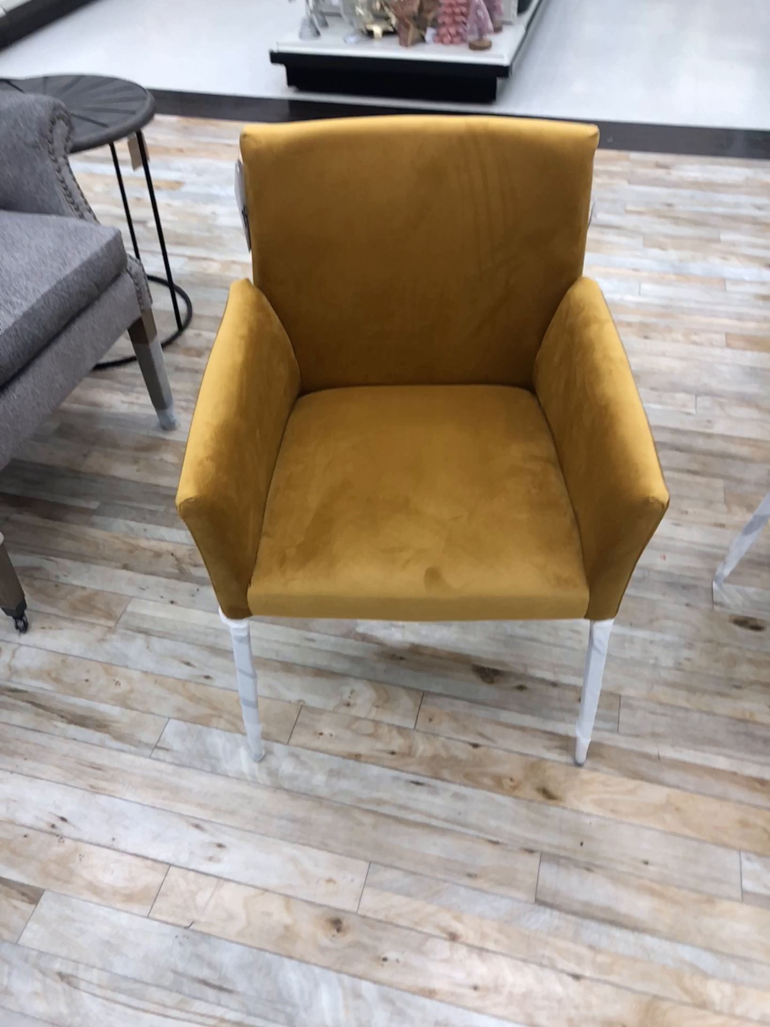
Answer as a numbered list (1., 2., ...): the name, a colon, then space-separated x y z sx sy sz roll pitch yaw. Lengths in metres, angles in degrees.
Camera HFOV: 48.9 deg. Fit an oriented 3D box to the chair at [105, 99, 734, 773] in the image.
1. chair: 0.043 -0.081 1.225 0.560 0.797 0.542 0 43 2
